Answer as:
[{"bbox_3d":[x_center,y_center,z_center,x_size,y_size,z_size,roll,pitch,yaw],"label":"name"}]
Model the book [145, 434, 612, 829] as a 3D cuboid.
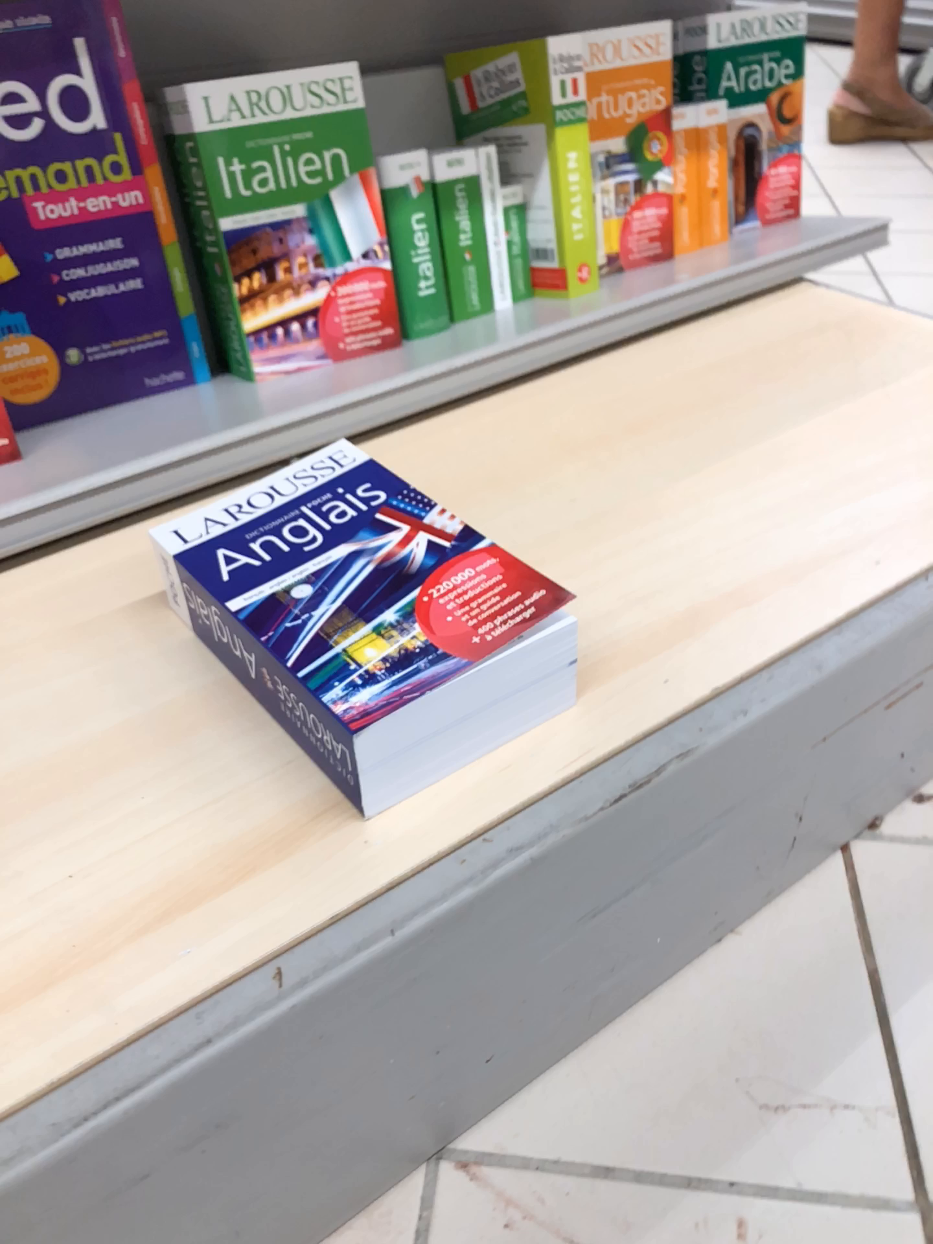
[{"bbox_3d":[-0.044,-0.009,0.454,0.118,0.054,0.181,-25,43,-29],"label":"book"}]
